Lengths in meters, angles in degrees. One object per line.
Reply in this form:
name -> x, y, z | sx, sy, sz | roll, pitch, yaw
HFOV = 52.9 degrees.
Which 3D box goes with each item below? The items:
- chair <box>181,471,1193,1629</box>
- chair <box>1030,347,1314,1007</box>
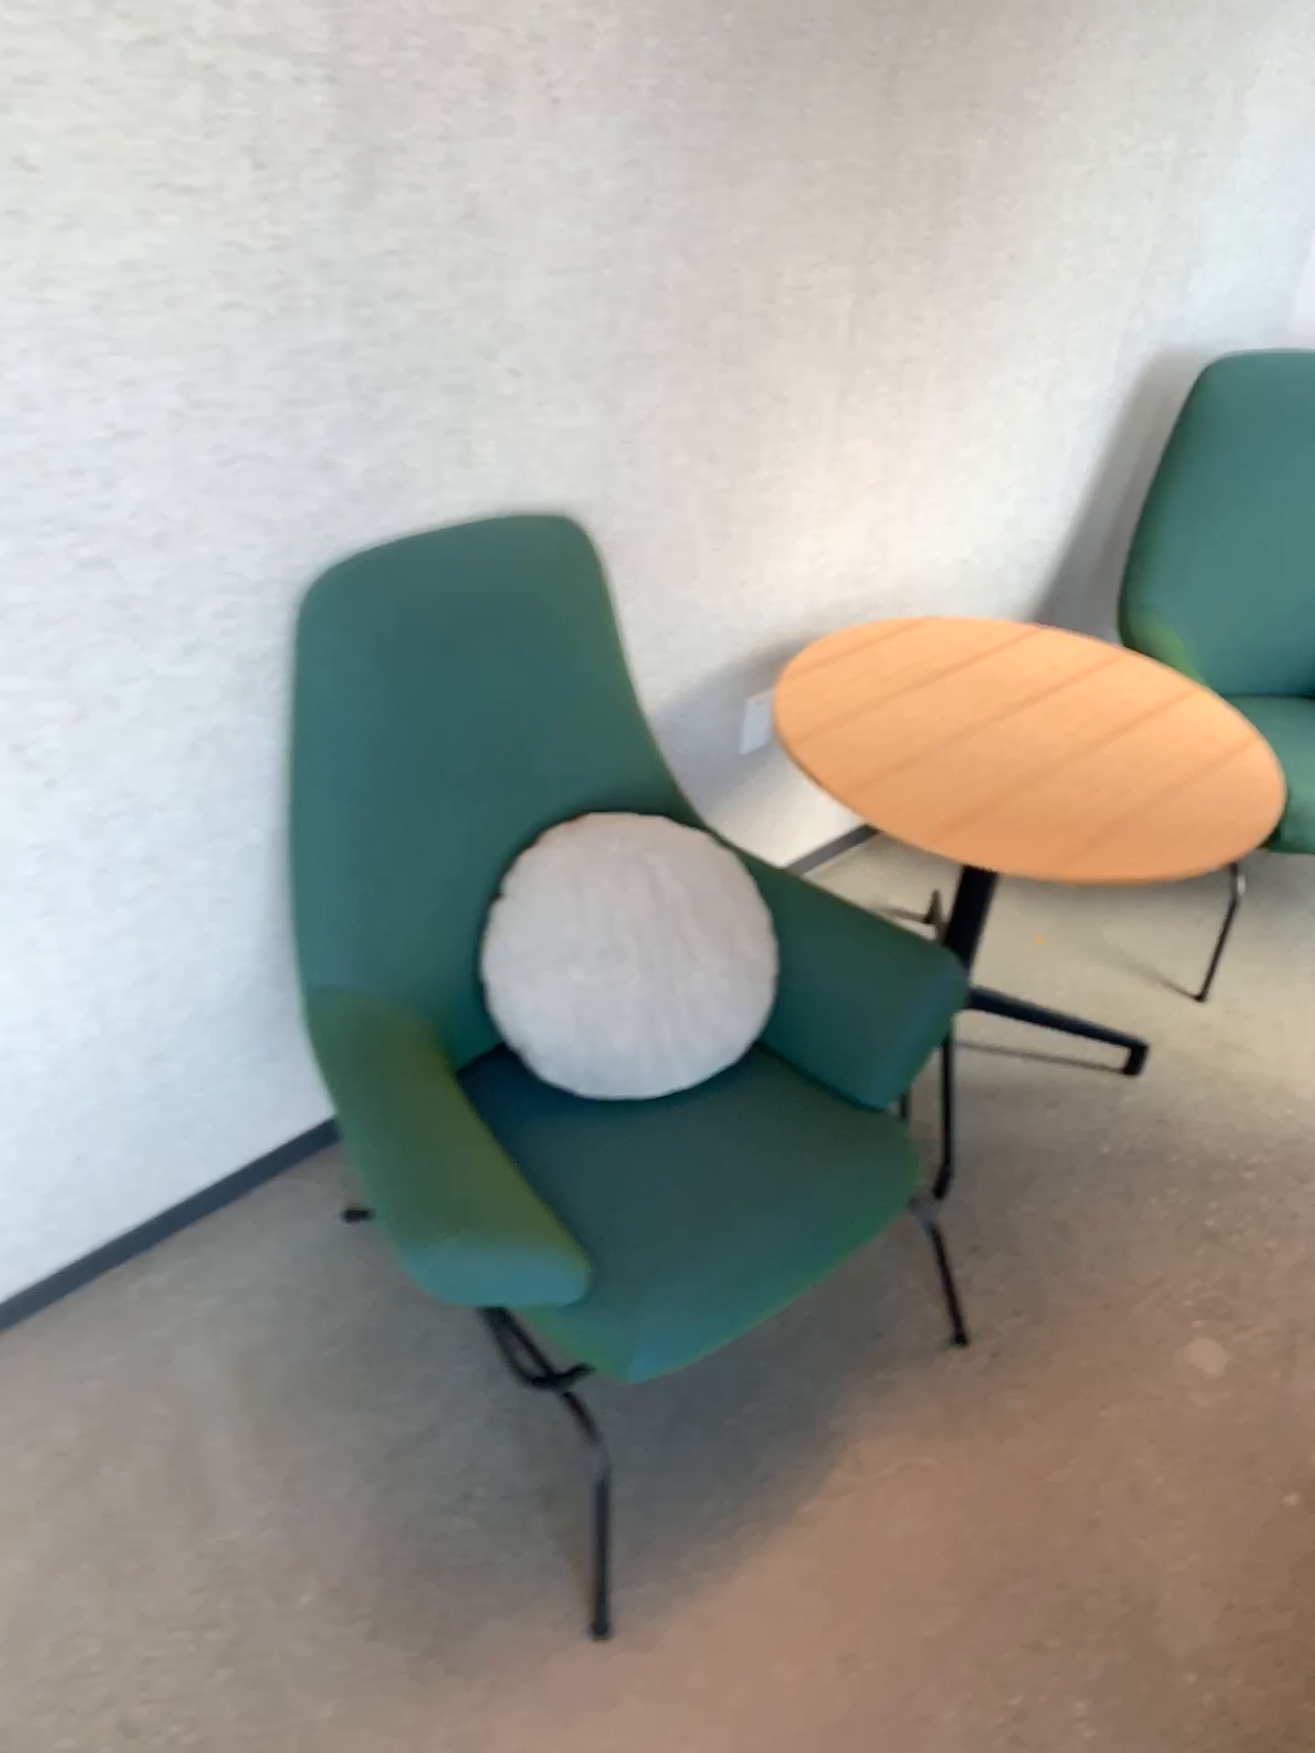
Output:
chair -> -0.021, 0.153, 1.712 | 0.721, 0.994, 0.844 | -23, 44, -33
chair -> 1.302, -0.400, 2.590 | 0.650, 1.014, 0.755 | -3, 36, -11
